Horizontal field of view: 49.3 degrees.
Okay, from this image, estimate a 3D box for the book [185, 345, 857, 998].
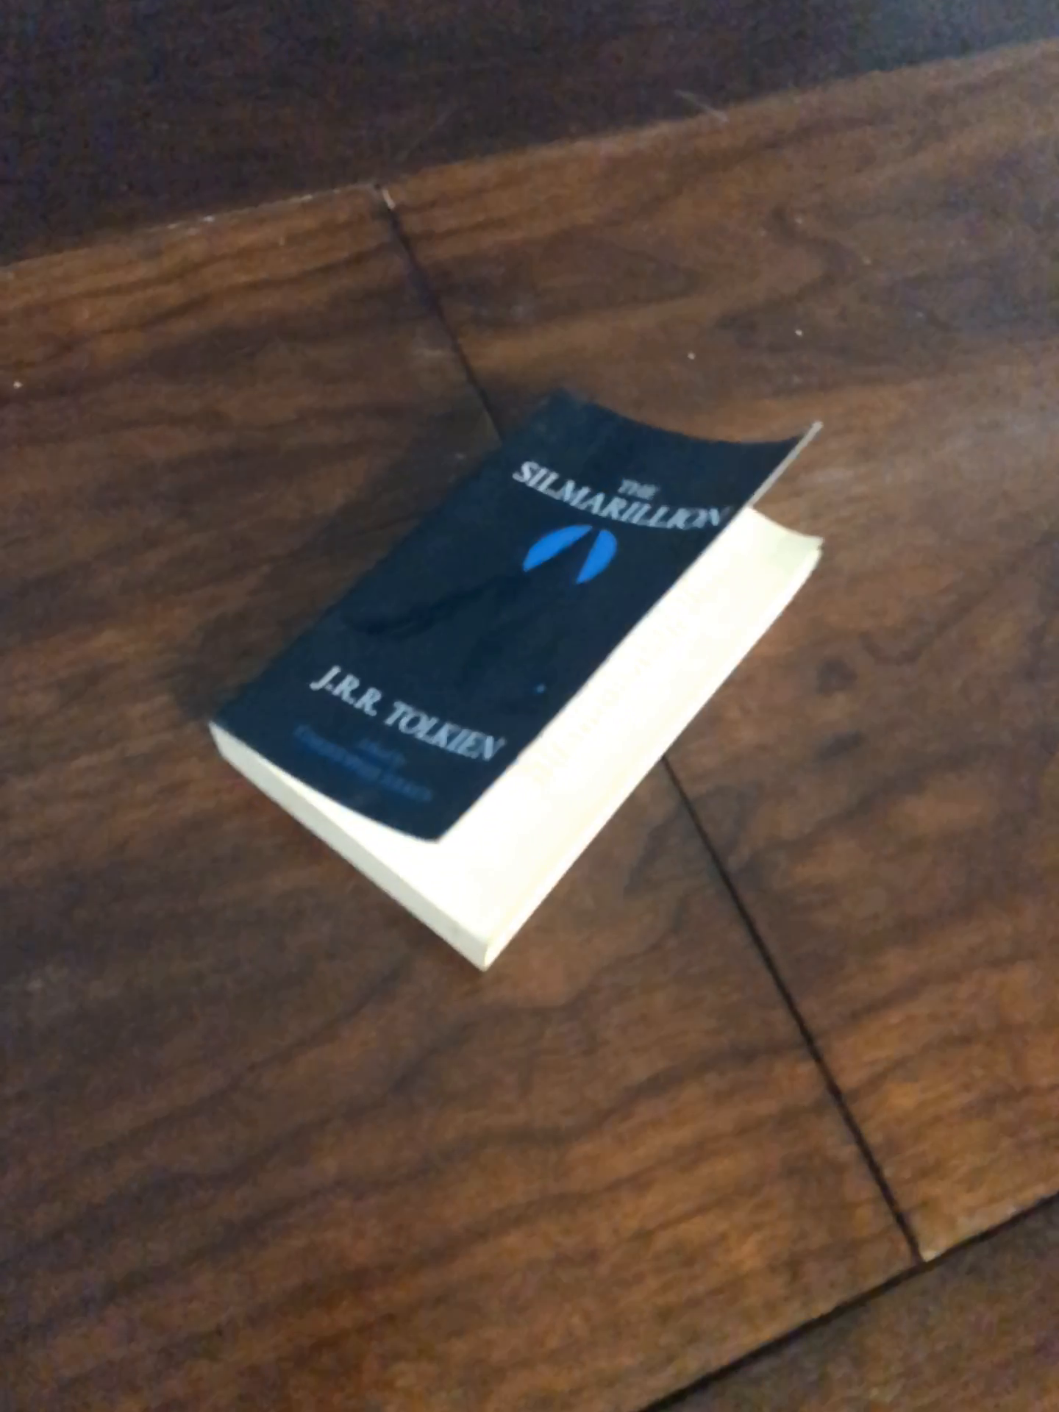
[{"bbox_3d":[0.003,-0.020,0.368,0.119,0.040,0.180,36,66,12],"label":"book"}]
